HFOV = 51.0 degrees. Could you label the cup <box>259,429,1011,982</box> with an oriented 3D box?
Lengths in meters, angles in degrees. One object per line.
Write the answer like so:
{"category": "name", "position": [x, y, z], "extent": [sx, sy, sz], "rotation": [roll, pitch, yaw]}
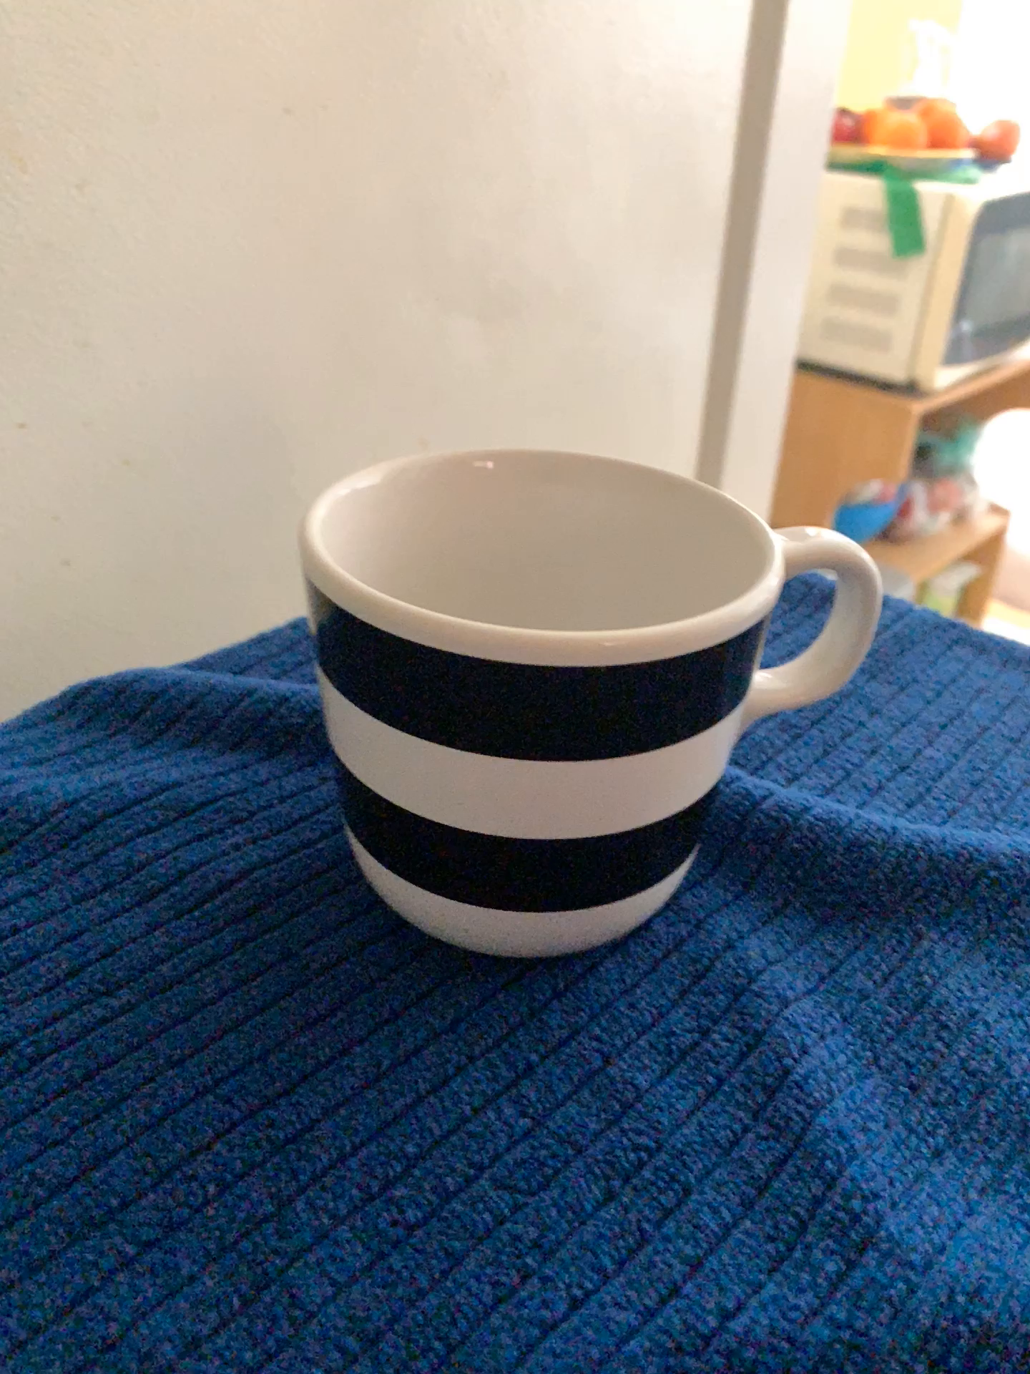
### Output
{"category": "cup", "position": [0.013, -0.005, 0.208], "extent": [0.113, 0.057, 0.085], "rotation": [-6, 34, -13]}
